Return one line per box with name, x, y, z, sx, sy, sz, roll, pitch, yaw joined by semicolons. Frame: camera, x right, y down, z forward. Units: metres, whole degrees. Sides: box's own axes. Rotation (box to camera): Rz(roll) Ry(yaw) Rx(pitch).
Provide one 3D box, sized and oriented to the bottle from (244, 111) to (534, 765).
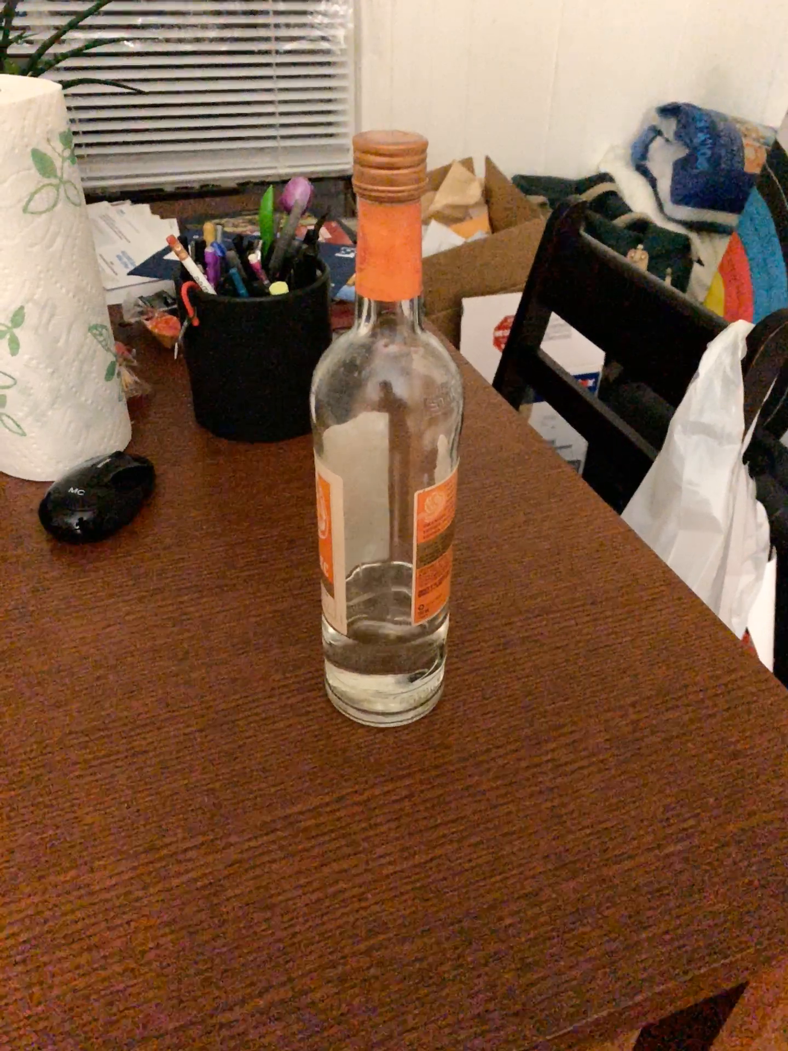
bottle;-0.001;-0.025;0.394;0.080;0.298;0.090;15;39;17
